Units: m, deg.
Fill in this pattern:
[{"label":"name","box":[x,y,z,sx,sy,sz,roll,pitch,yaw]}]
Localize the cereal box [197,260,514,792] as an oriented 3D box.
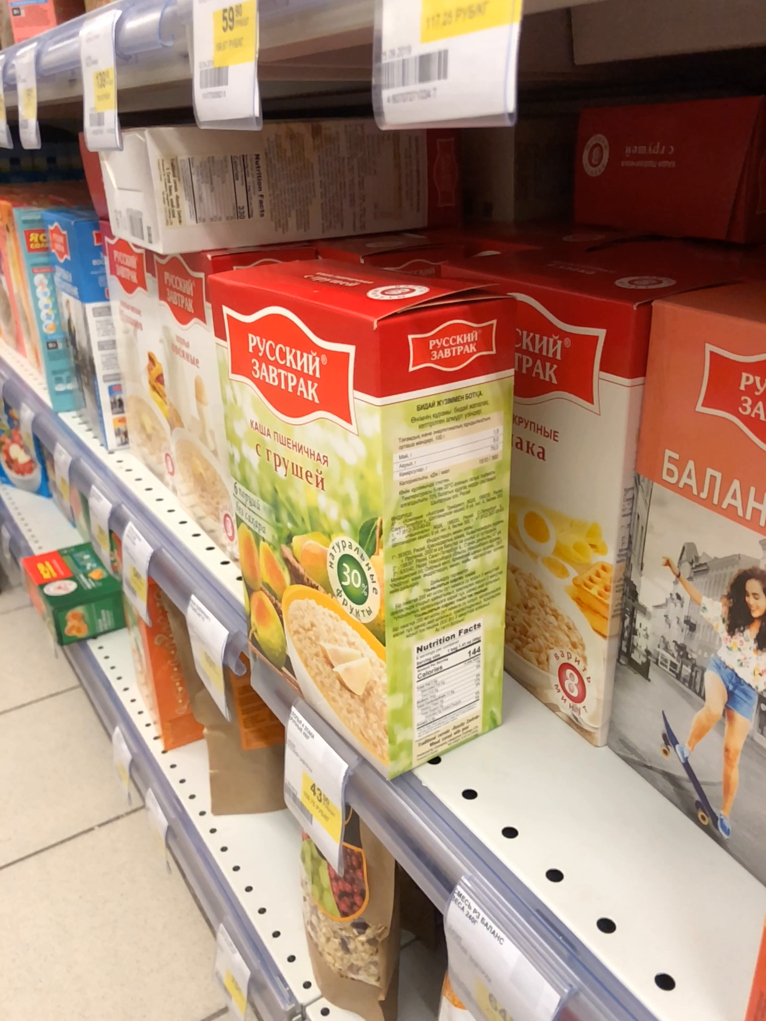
[{"label":"cereal box","box":[-0.015,-0.003,0.373,0.060,0.189,0.141,-17,27,-30]}]
